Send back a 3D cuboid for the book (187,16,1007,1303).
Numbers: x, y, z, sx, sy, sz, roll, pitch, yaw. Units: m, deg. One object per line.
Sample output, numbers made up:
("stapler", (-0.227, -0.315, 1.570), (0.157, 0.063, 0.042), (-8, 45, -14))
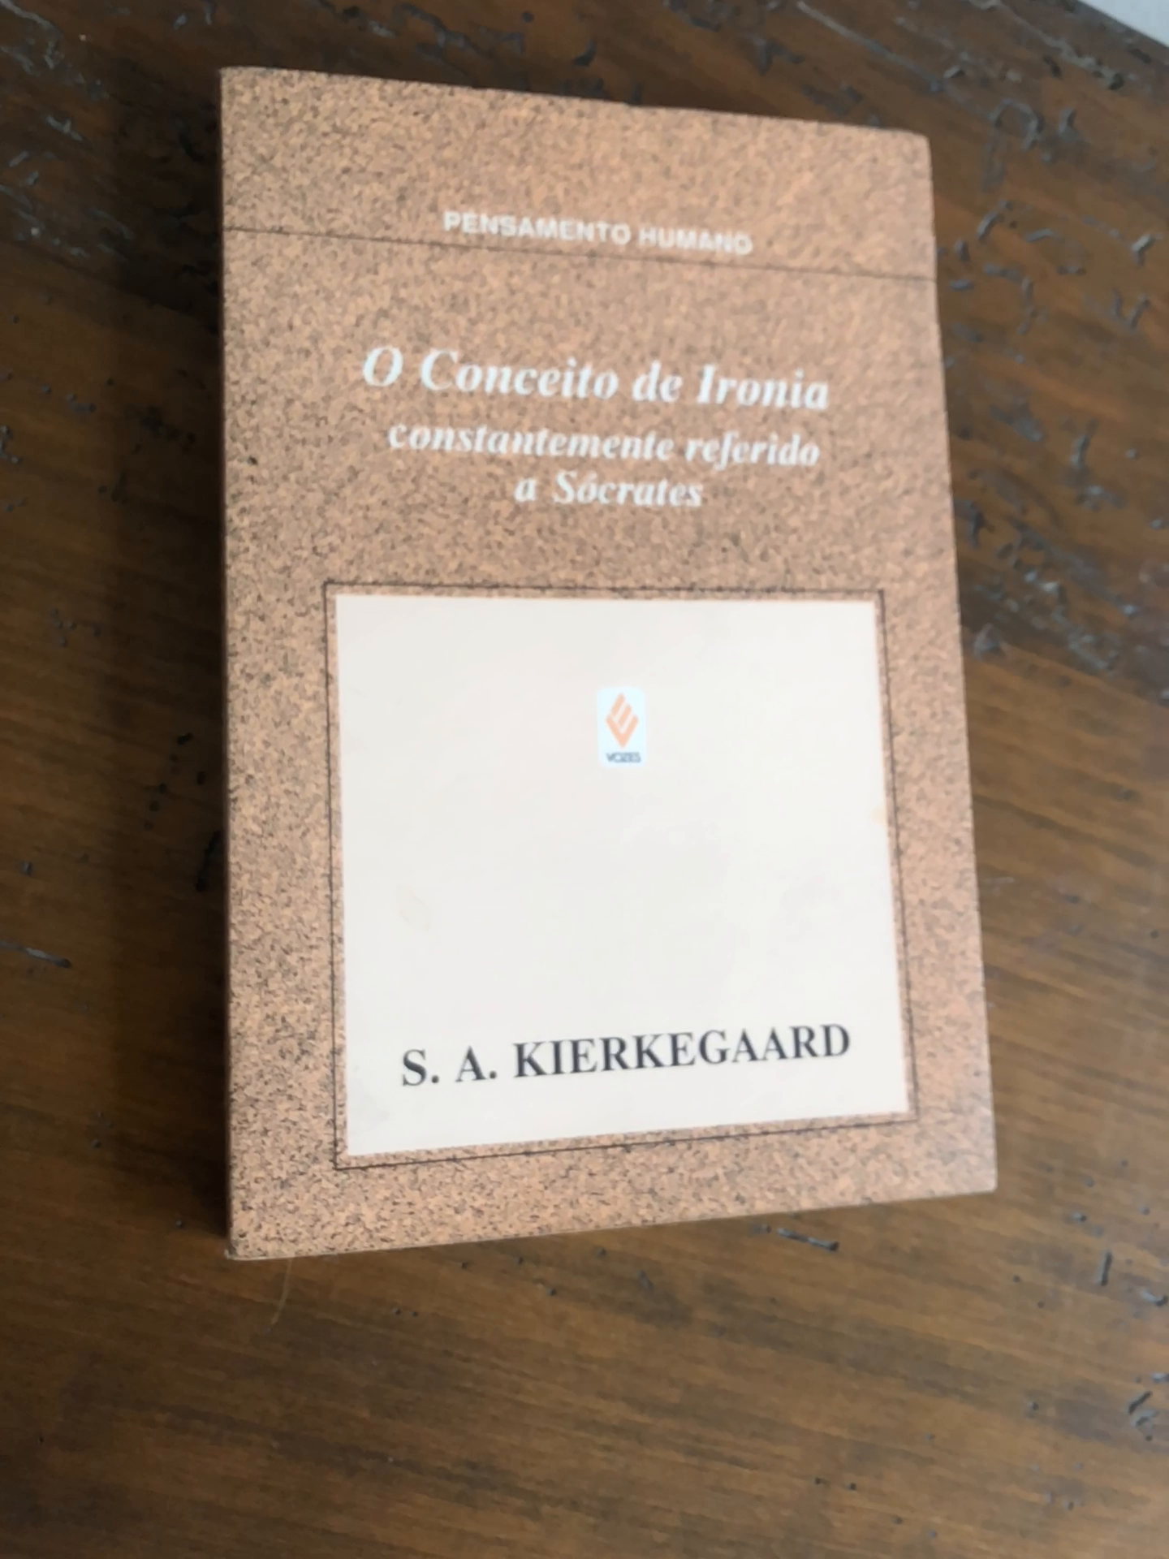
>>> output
("book", (0.001, -0.026, 0.250), (0.144, 0.024, 0.220), (-1, 84, -13))
